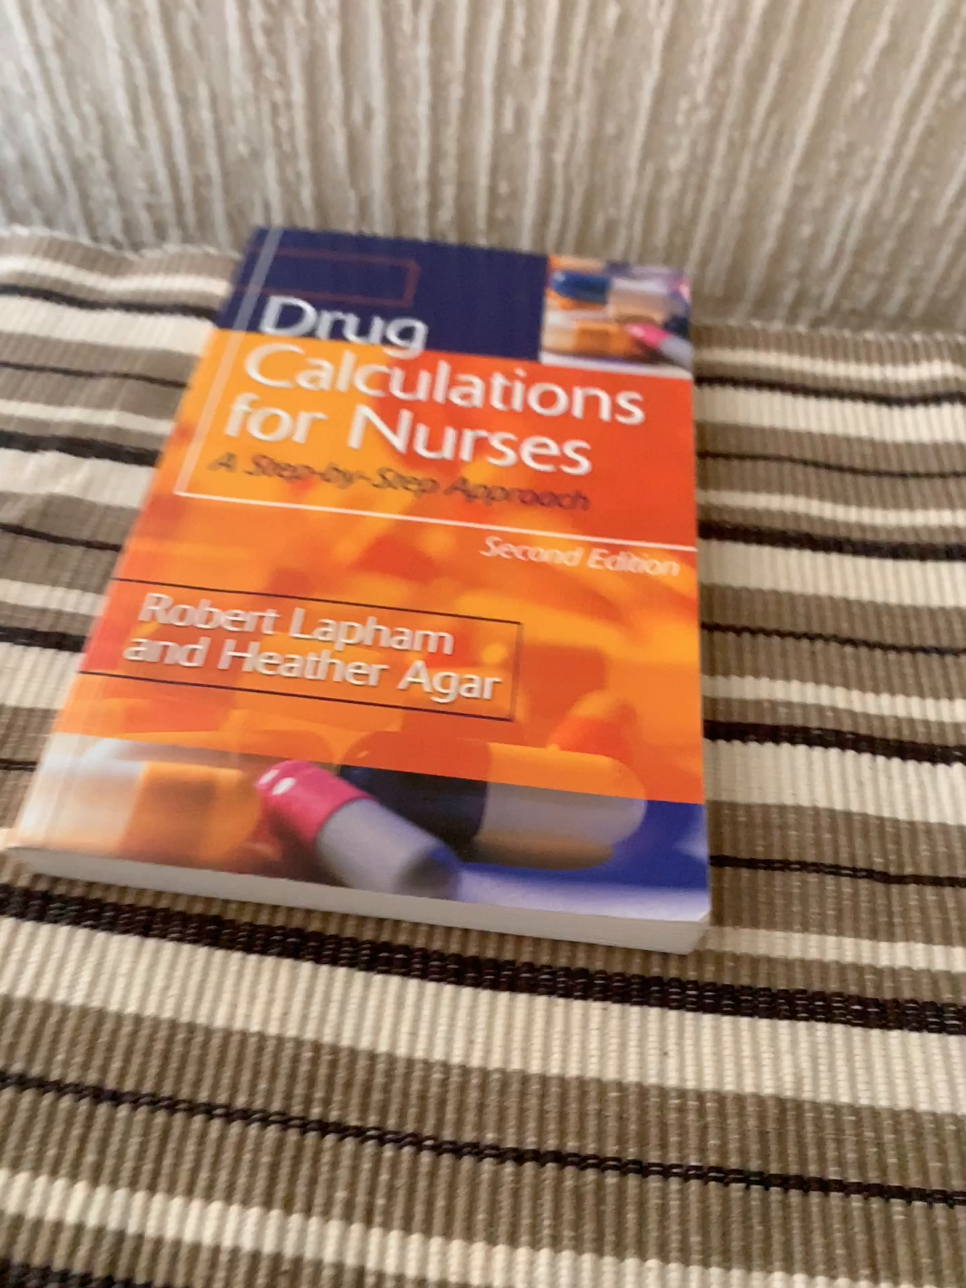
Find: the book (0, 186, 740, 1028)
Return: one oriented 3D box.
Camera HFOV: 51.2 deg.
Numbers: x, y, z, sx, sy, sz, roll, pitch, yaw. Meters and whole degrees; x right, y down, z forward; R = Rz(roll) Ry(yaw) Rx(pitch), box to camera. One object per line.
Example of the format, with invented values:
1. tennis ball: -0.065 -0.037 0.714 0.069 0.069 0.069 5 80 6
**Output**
1. book: -0.017 -0.032 0.243 0.140 0.020 0.222 6 55 0
